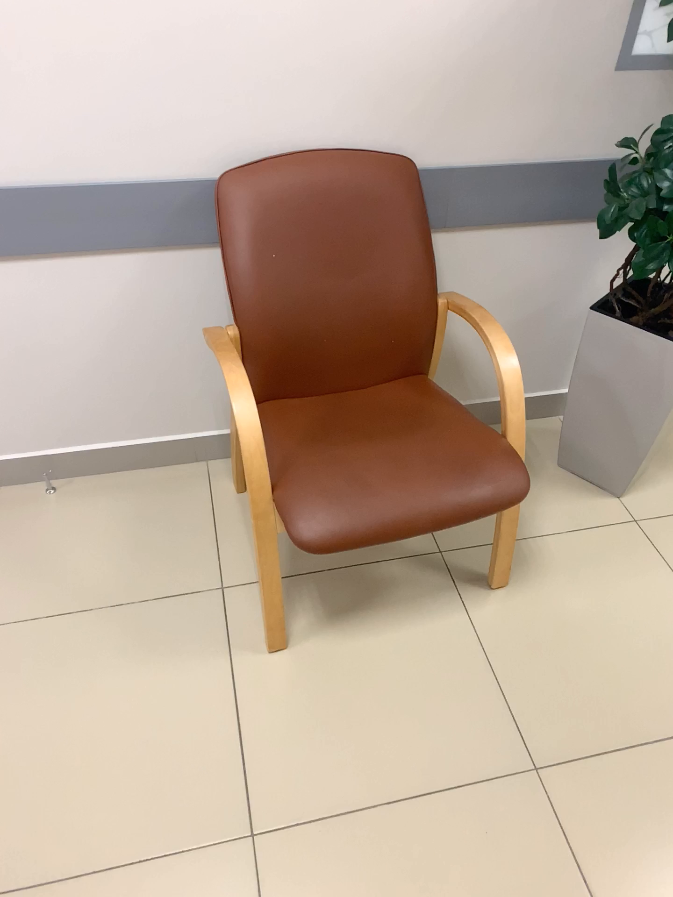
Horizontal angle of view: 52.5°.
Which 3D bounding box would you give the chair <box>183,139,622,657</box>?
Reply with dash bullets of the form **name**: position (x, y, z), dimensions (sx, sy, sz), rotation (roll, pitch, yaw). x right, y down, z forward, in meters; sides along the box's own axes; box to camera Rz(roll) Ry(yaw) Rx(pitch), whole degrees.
- **chair**: position (0.070, -0.114, 1.643), dimensions (0.671, 0.985, 0.603), rotation (-11, 43, -15)
